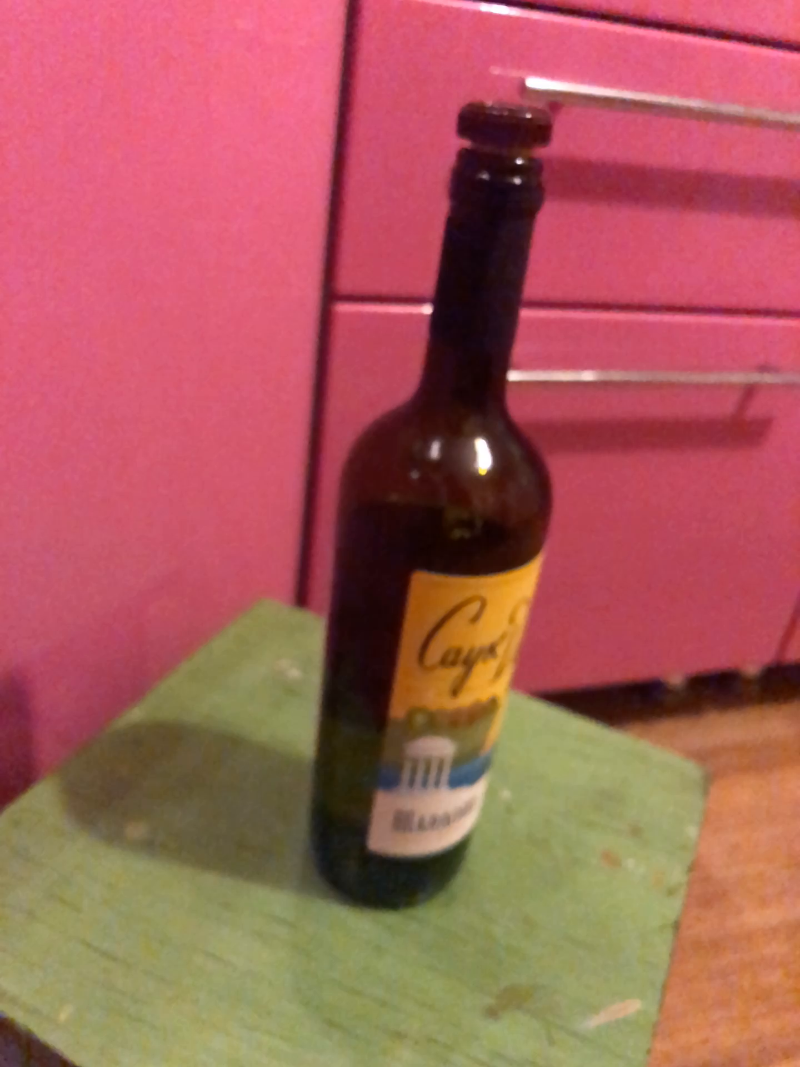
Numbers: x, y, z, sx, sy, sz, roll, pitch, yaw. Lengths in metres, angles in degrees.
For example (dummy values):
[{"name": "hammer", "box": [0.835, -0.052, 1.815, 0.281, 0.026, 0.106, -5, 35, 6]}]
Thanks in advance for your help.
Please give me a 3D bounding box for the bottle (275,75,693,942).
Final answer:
[{"name": "bottle", "box": [0.013, 0.008, 0.331, 0.072, 0.301, 0.071, 7, 29, -4]}]
